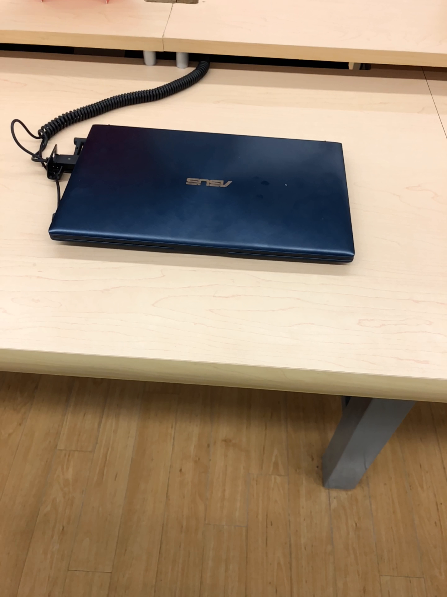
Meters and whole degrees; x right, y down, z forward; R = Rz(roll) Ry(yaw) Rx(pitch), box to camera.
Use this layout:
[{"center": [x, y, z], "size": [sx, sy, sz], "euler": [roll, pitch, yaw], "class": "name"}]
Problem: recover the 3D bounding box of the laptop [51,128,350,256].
[{"center": [-0.016, -0.124, 0.540], "size": [0.295, 0.001, 0.178], "euler": [4, 53, 2], "class": "laptop"}]
